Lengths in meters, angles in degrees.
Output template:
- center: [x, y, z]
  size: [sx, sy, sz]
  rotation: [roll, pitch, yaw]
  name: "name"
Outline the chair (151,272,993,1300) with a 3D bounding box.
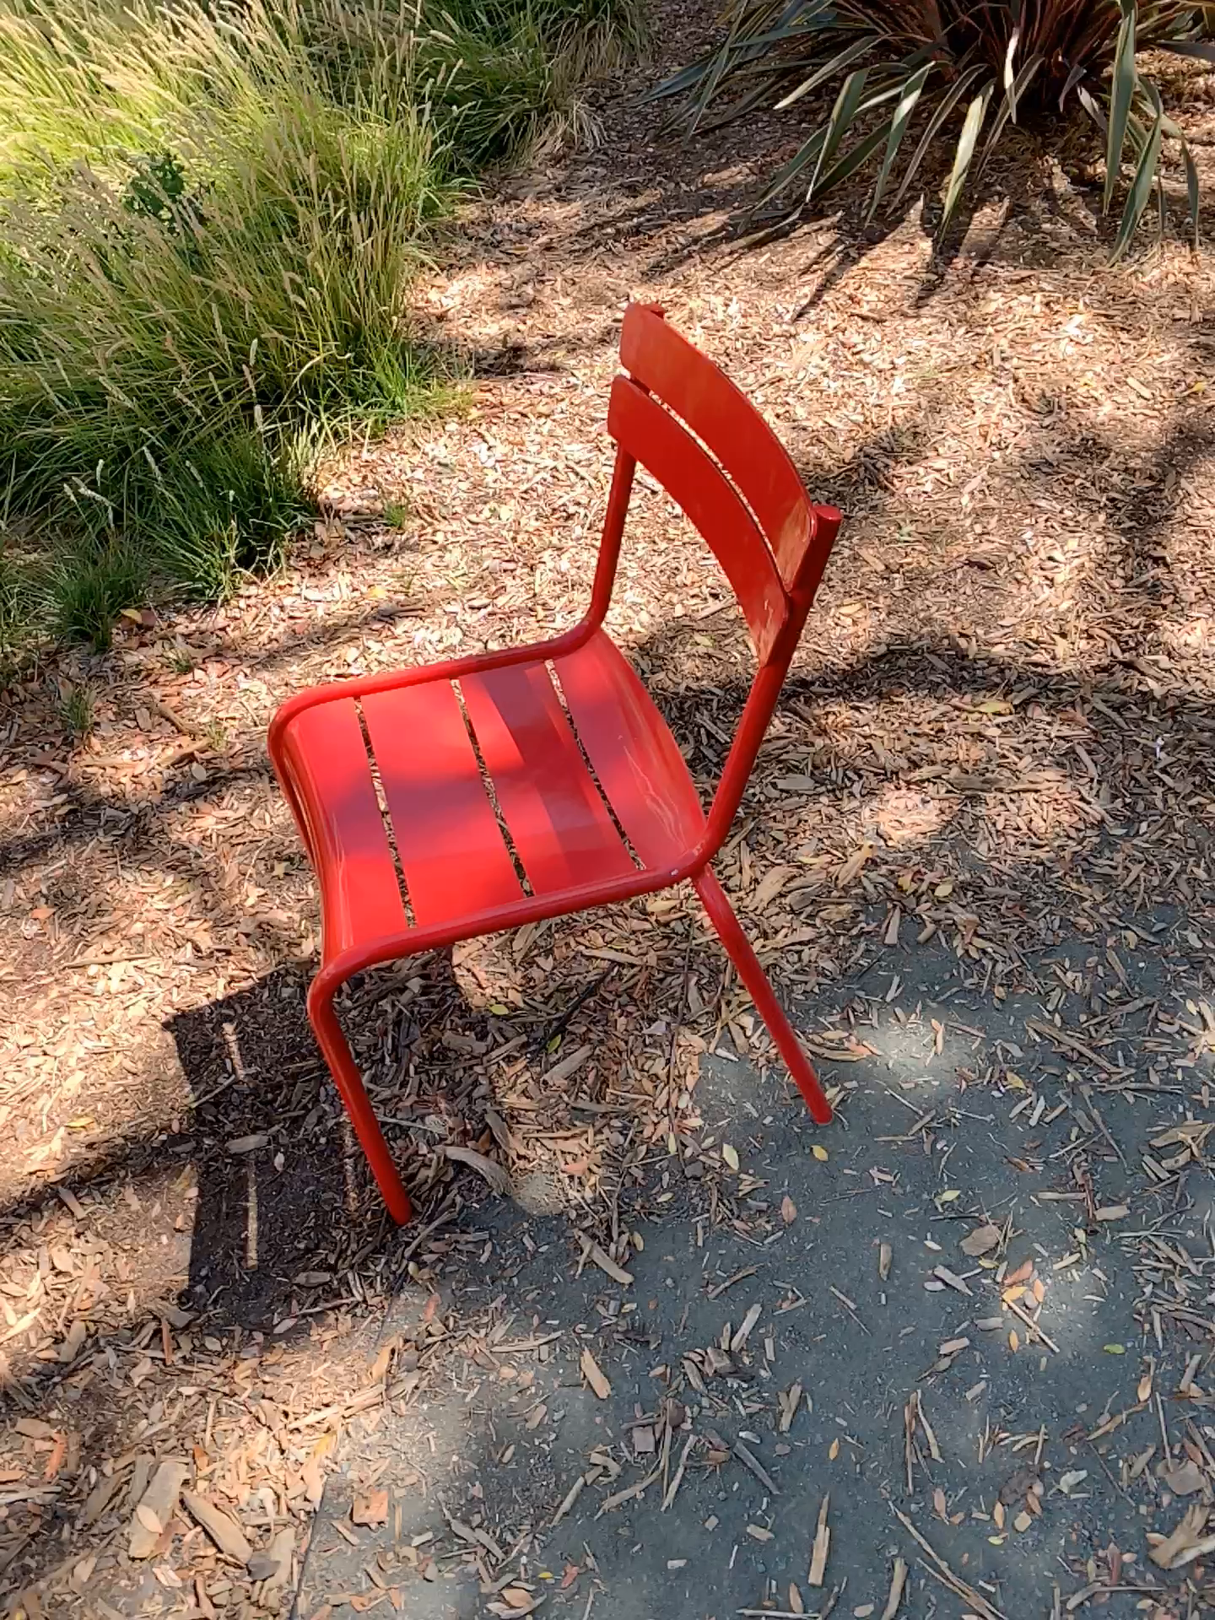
- center: [-0.084, -0.037, 1.313]
  size: [0.570, 0.785, 0.614]
  rotation: [-12, 42, -13]
  name: "chair"
